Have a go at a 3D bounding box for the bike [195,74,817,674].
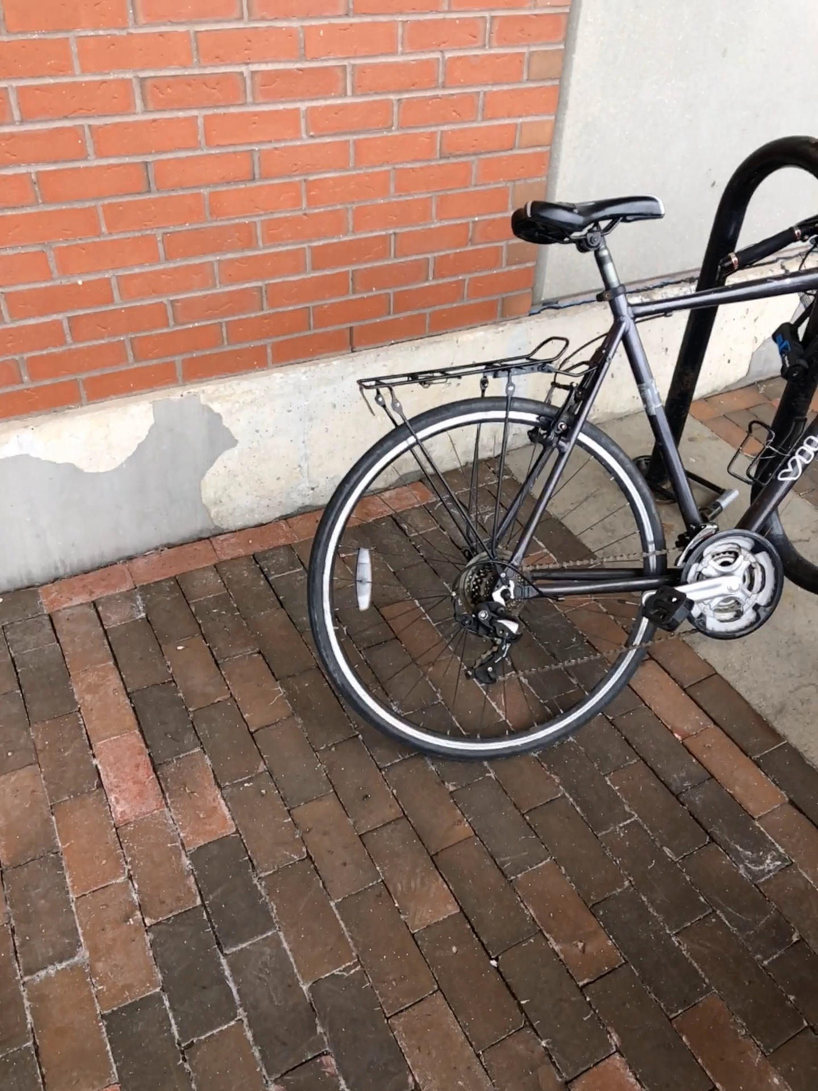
[{"bbox_3d":[0.328,-0.481,1.912,1.417,0.734,0.746,-16,43,-23],"label":"bike"}]
